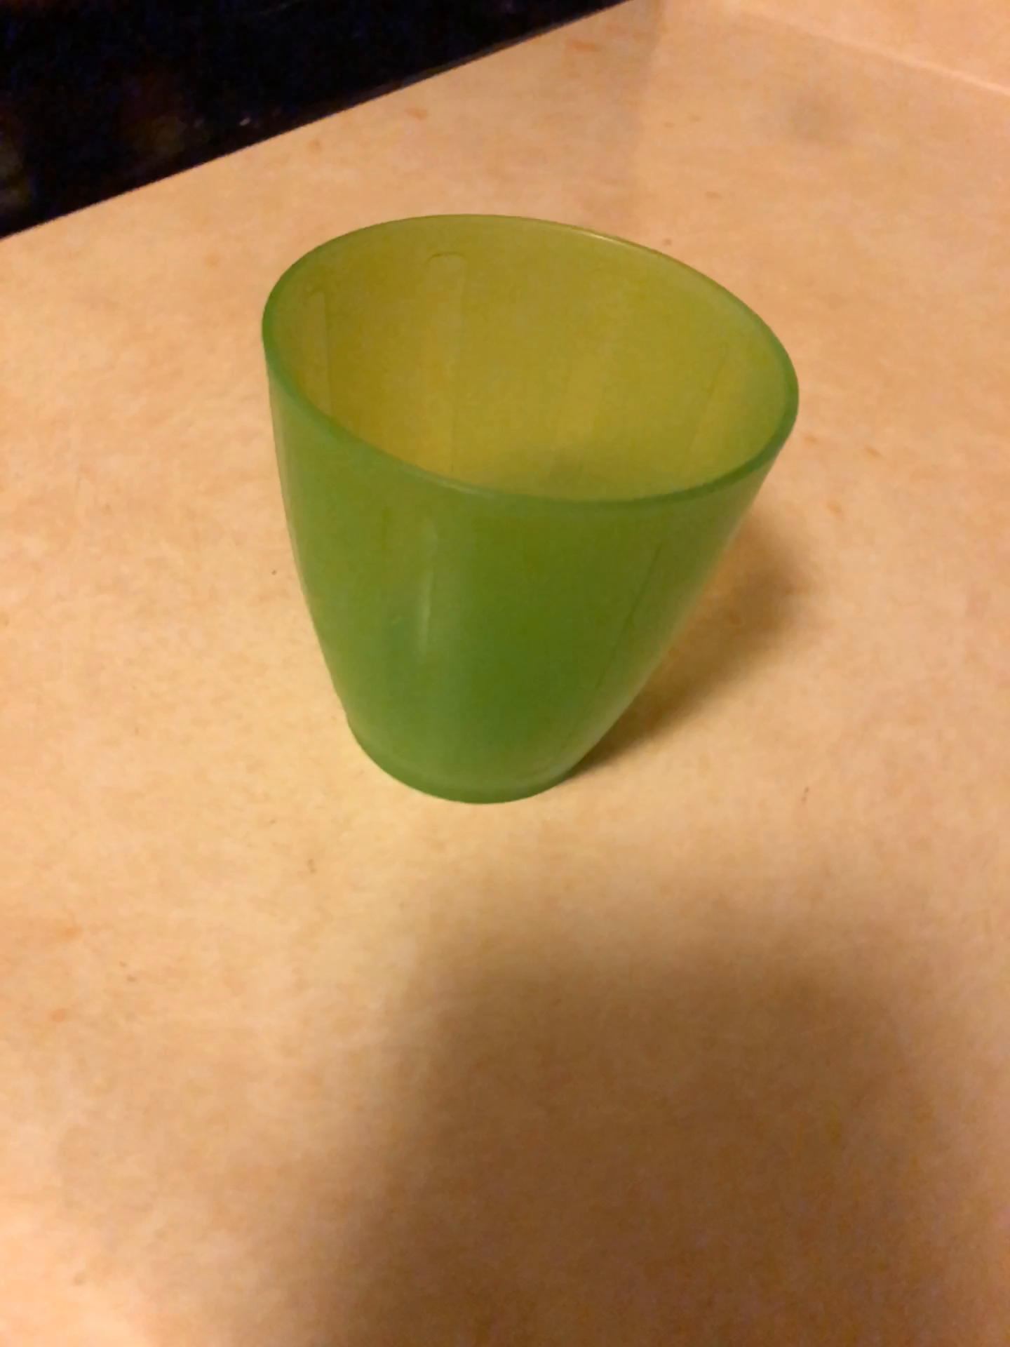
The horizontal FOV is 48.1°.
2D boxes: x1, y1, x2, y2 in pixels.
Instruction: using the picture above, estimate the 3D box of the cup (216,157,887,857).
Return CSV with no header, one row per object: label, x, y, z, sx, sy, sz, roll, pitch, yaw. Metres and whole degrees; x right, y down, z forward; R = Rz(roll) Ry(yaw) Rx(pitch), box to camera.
cup,0.003,-0.028,0.186,0.080,0.070,0.080,5,45,-5
